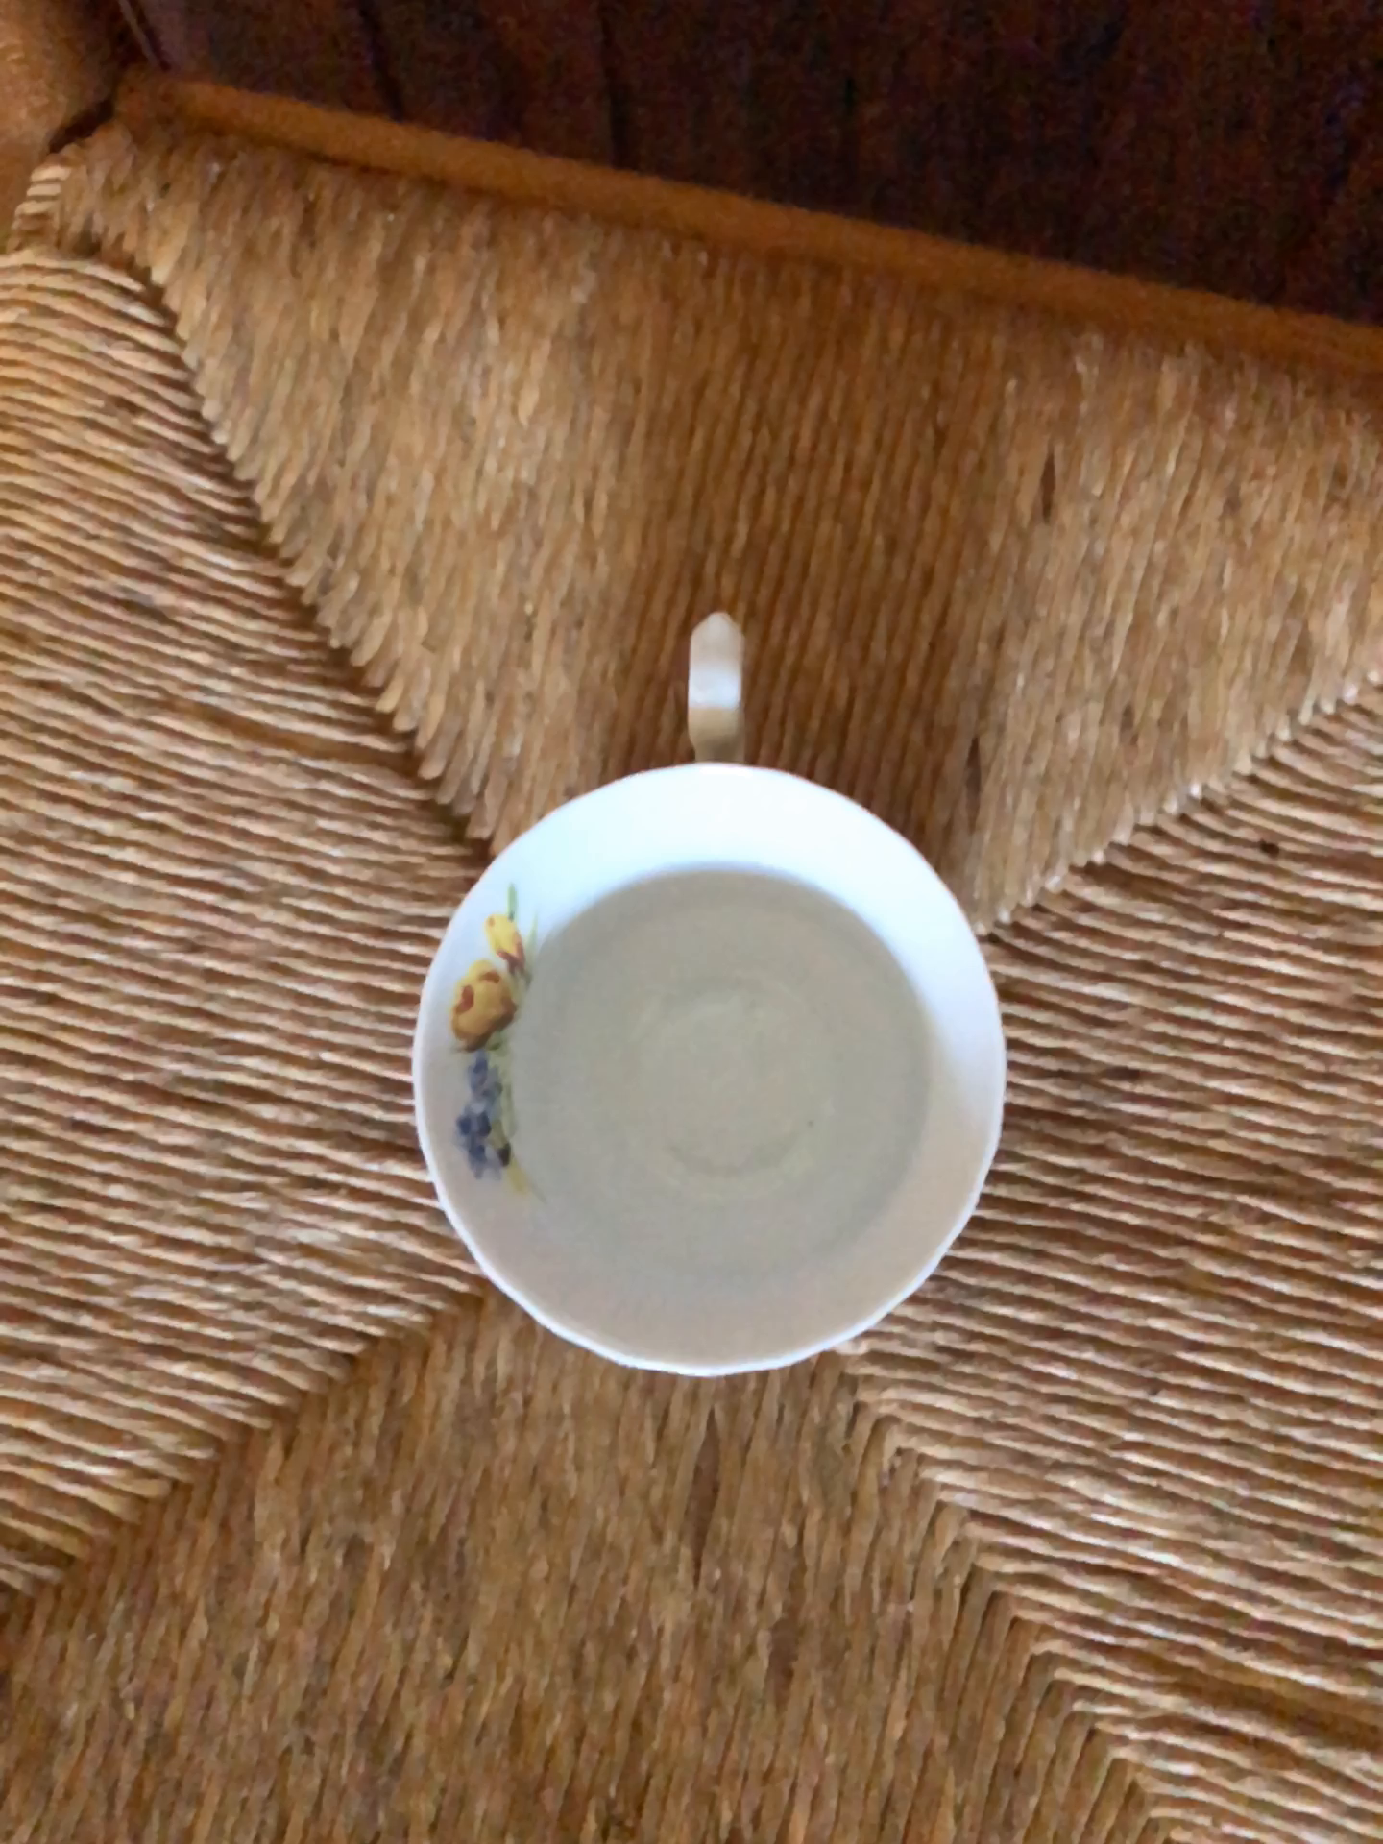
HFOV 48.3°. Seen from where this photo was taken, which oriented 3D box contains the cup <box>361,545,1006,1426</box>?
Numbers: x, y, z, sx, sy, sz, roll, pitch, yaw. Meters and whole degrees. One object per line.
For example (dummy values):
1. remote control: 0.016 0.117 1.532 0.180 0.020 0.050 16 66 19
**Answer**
1. cup: 0.001 0.012 0.261 0.090 0.070 0.130 0 79 2
